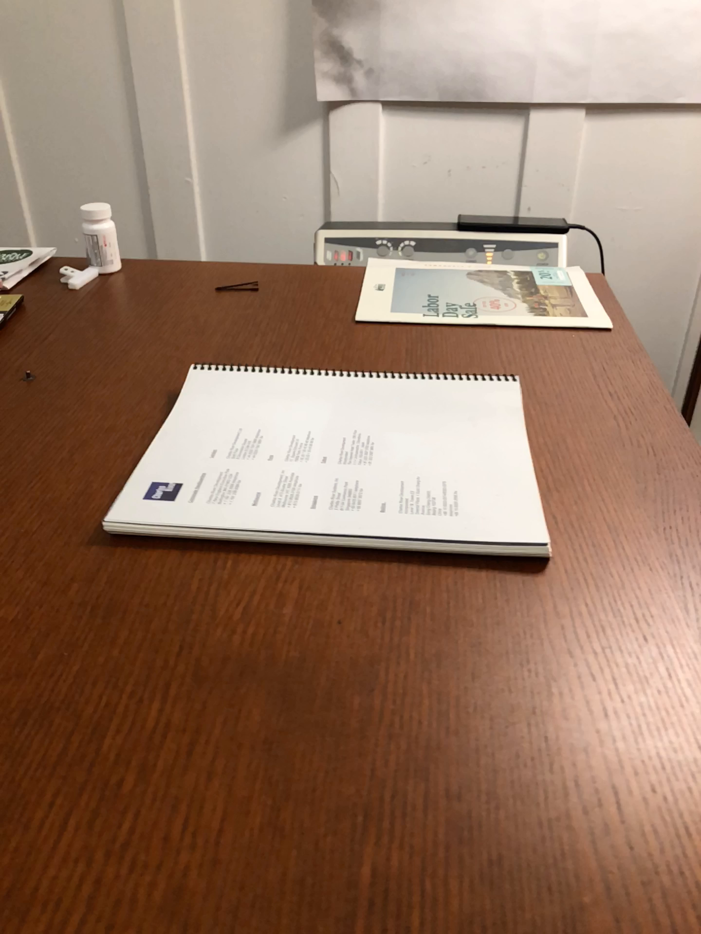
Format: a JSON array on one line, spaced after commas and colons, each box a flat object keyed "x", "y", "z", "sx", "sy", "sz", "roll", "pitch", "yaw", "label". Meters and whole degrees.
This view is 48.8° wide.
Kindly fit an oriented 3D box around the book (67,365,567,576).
[{"x": -0.014, "y": -0.011, "z": 0.564, "sx": 0.300, "sy": 0.020, "sz": 0.231, "roll": 3, "pitch": 32, "yaw": 4, "label": "book"}]
